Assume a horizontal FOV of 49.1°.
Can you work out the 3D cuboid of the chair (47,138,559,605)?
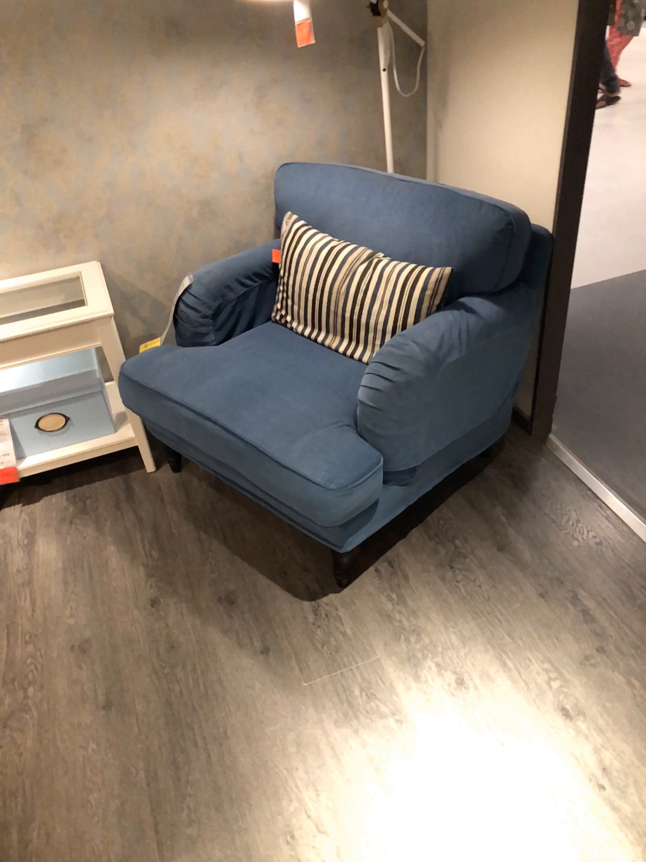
[{"bbox_3d":[-0.036,-0.248,1.850,0.893,0.695,0.802,27,47,36],"label":"chair"}]
